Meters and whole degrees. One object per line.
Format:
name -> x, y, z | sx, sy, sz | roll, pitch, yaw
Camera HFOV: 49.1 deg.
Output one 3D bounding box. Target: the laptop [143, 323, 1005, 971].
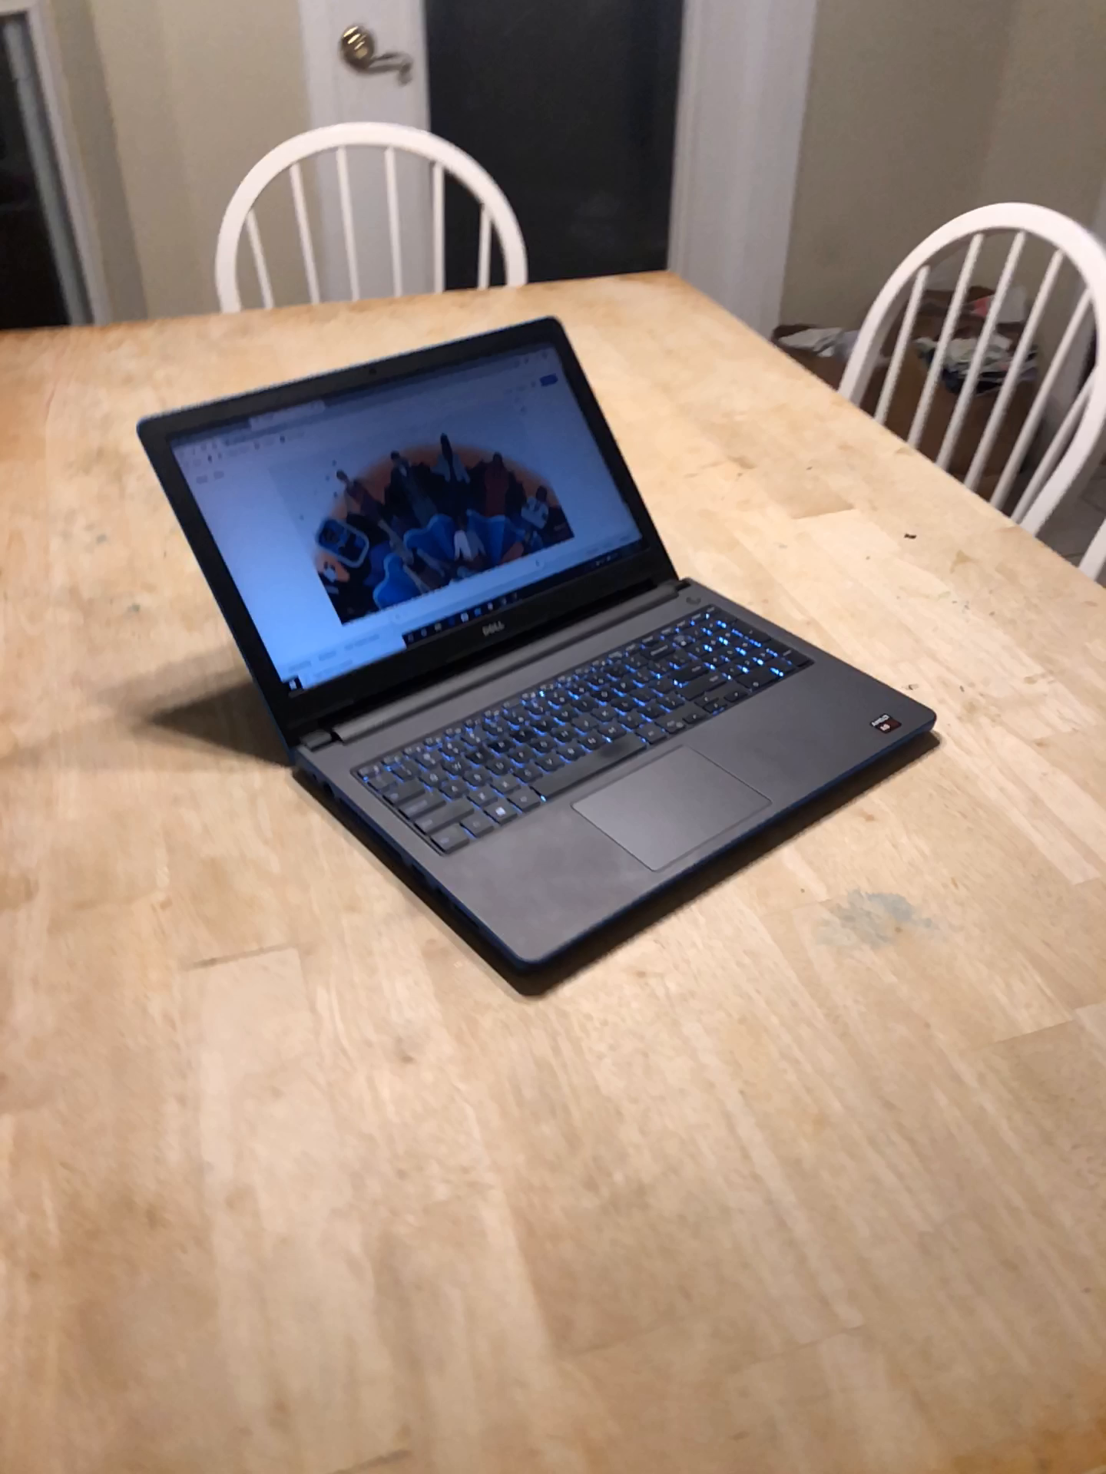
laptop -> 0.001, -0.108, 0.830 | 0.367, 0.174, 0.420 | -27, 44, -32
